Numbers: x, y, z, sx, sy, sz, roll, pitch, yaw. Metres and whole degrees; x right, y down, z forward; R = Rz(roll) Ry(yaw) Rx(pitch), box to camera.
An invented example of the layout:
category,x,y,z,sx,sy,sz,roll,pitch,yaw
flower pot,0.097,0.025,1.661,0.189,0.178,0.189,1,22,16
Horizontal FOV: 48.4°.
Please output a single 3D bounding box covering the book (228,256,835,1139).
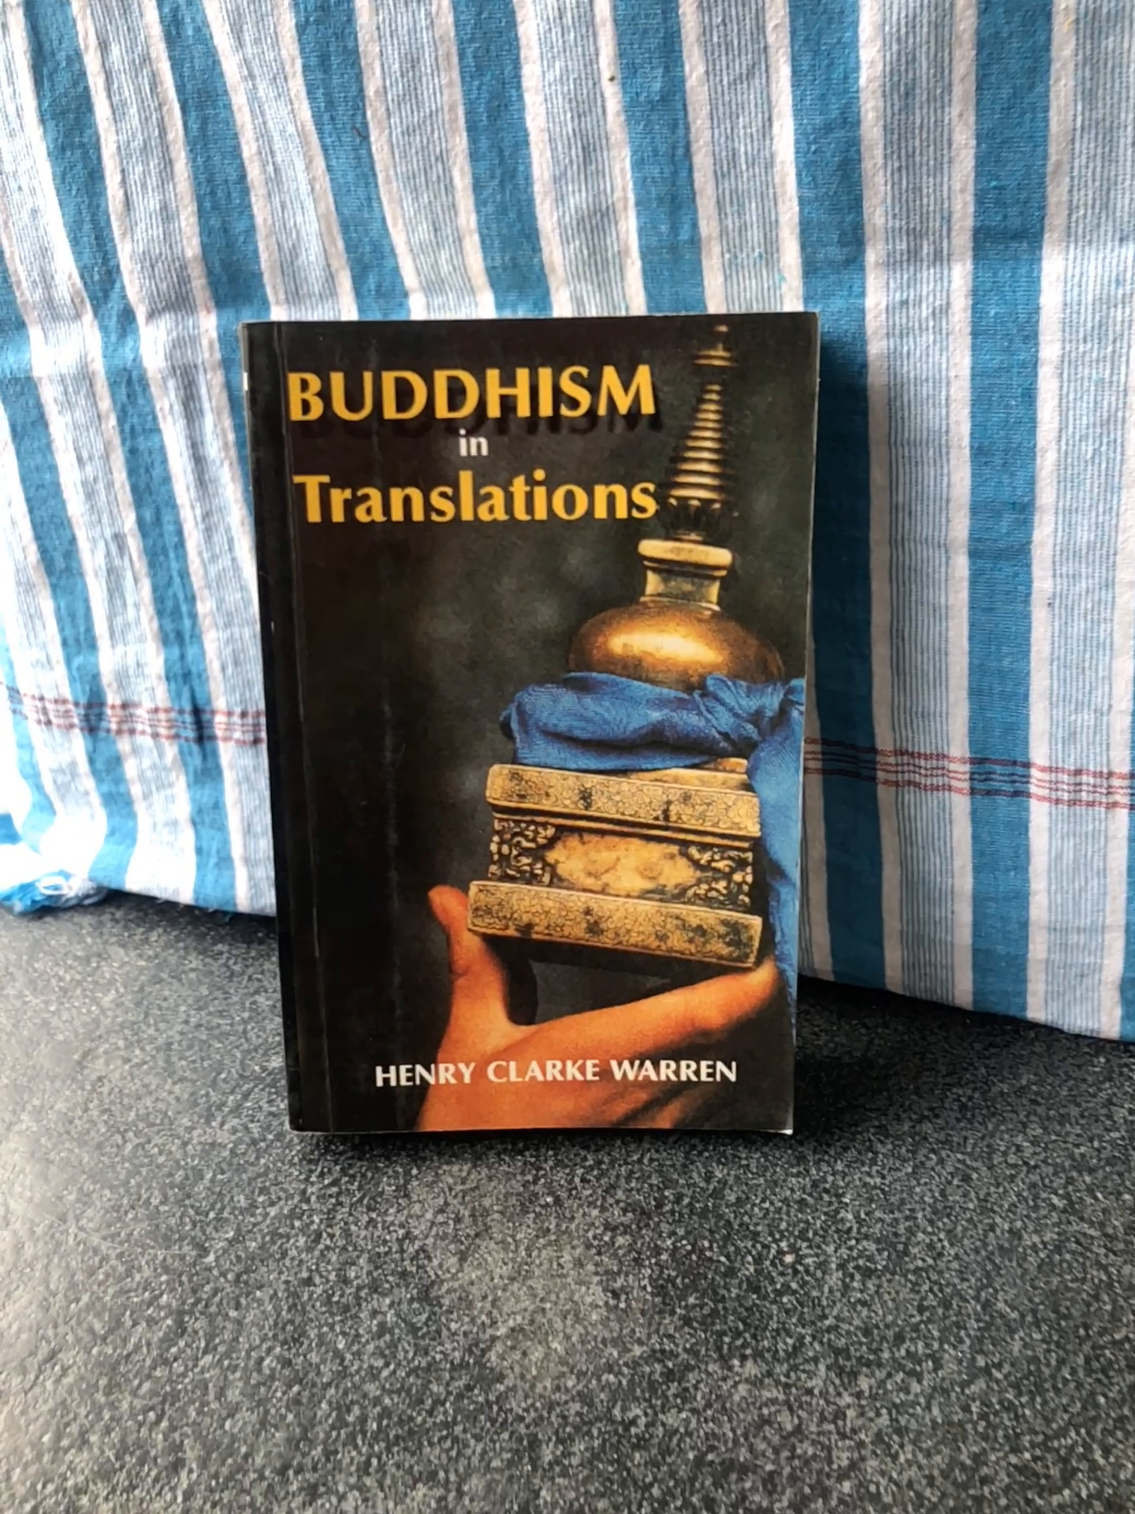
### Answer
category,x,y,z,sx,sy,sz,roll,pitch,yaw
book,-0.006,-0.012,0.327,0.140,0.210,0.050,-1,7,2
